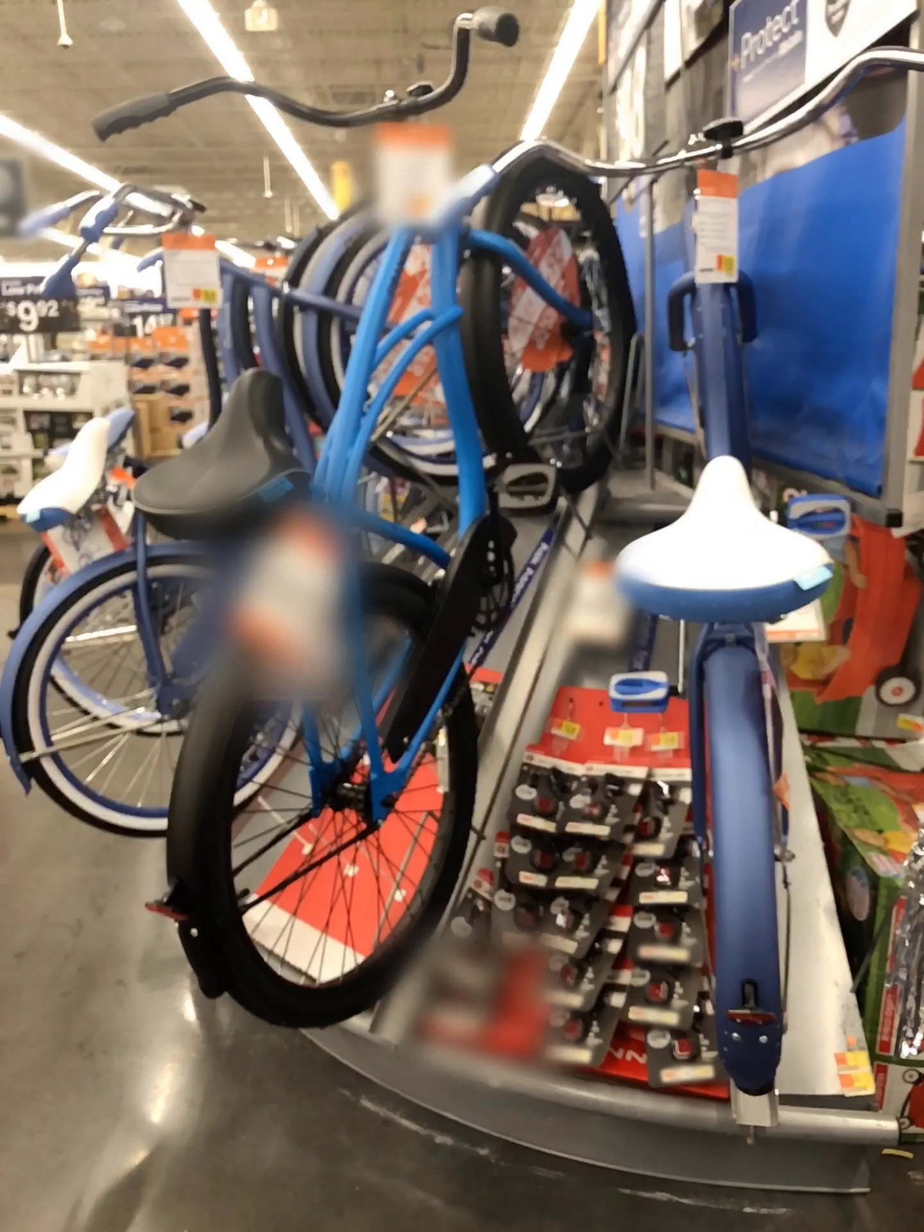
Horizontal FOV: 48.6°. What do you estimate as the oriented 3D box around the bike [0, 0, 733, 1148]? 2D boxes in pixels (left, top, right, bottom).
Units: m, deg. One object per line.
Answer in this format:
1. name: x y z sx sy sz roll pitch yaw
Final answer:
1. bike: -0.030 -0.664 1.553 0.505 1.120 1.565 6 43 27
